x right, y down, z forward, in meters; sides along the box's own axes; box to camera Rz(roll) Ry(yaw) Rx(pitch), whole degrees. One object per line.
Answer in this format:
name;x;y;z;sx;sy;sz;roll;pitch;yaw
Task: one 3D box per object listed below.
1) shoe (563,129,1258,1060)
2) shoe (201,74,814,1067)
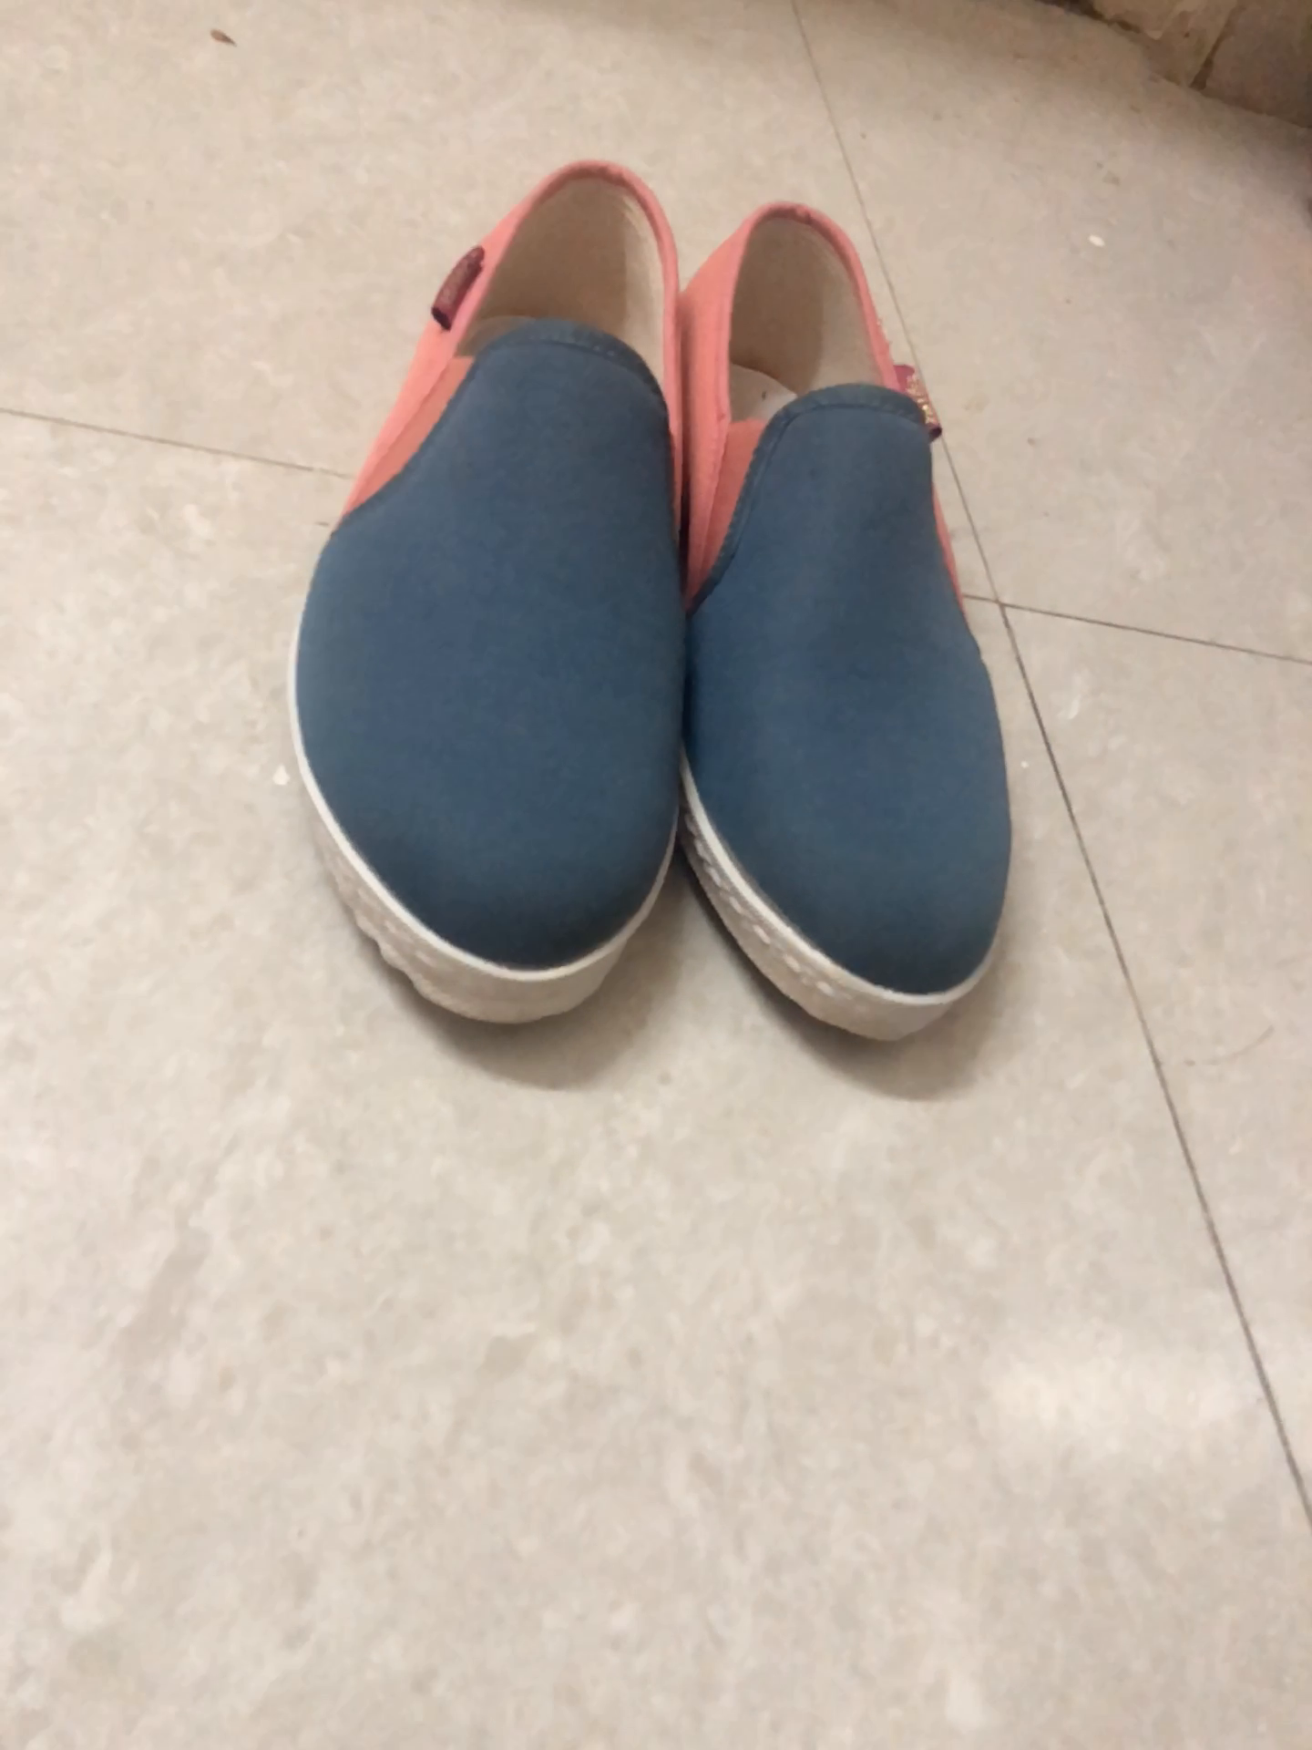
shoe;0.040;-0.072;0.329;0.090;0.060;0.221;5;52;-19
shoe;-0.030;-0.076;0.310;0.090;0.060;0.221;10;51;-15
